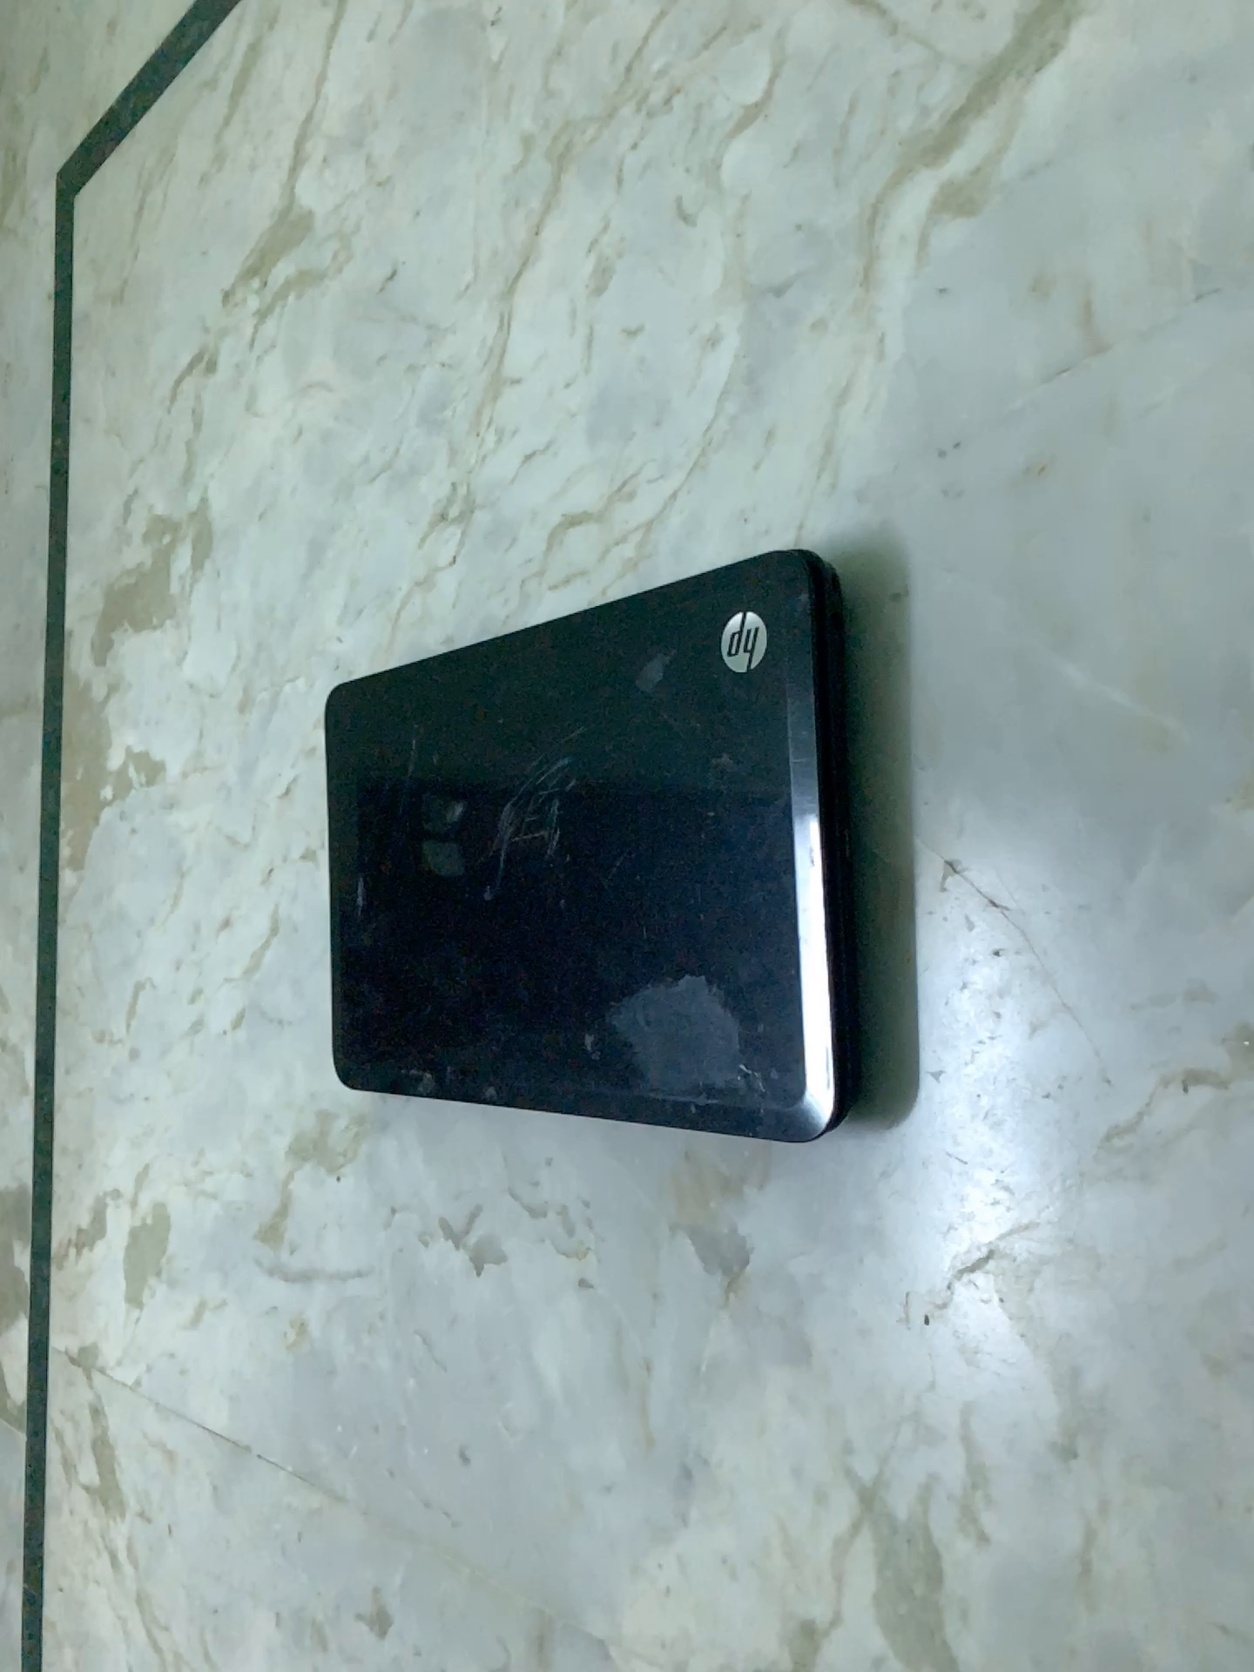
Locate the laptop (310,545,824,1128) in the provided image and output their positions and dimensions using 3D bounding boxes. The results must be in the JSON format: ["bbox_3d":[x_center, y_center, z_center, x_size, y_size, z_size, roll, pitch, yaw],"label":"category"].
[{"bbox_3d":[-0.048,0.011,0.607,0.335,0.022,0.221,-8,76,47],"label":"laptop"}]
